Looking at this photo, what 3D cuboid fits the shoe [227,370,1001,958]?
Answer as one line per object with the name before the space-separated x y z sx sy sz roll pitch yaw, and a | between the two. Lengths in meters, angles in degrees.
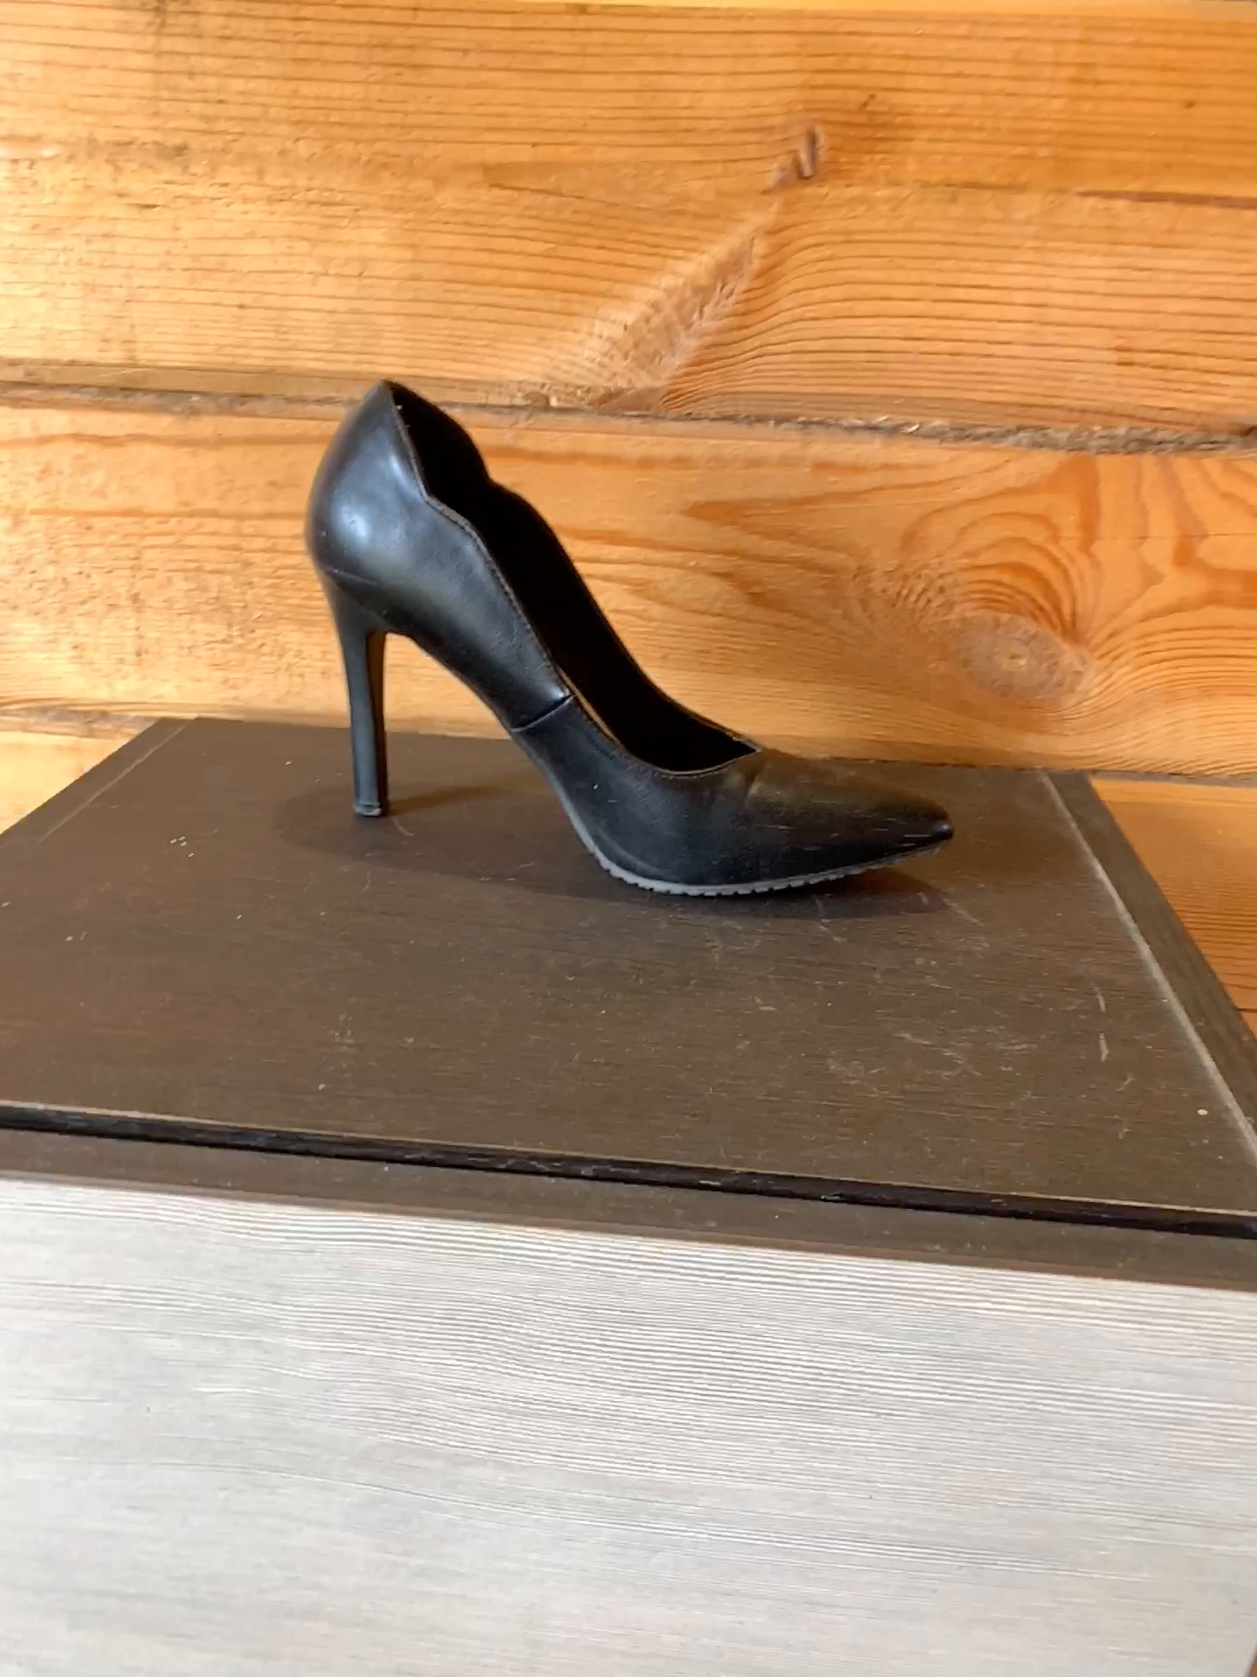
shoe | -0.002 -0.068 0.426 0.220 0.149 0.101 9 22 14
